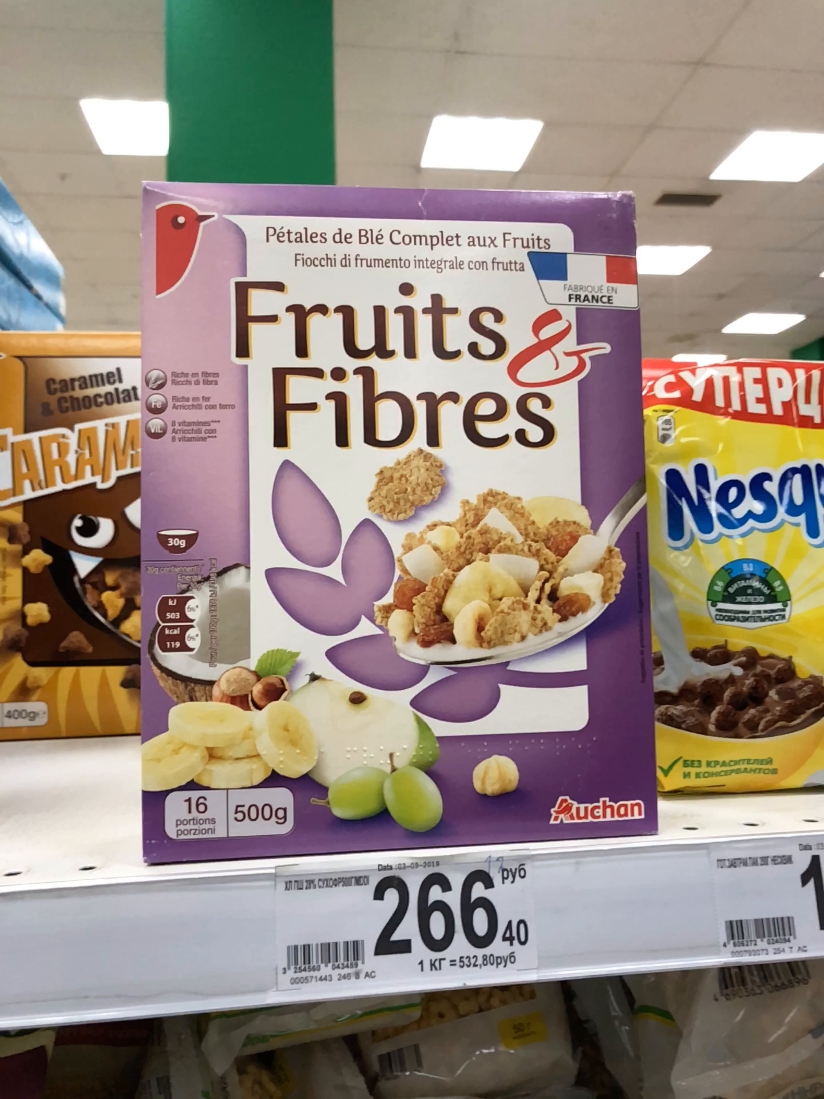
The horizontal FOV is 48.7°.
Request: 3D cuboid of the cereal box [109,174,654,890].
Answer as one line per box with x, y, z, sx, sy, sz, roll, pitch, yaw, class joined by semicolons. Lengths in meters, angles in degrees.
-0.014;-0.010;0.372;0.200;0.260;0.060;-1;-4;-7;cereal box
